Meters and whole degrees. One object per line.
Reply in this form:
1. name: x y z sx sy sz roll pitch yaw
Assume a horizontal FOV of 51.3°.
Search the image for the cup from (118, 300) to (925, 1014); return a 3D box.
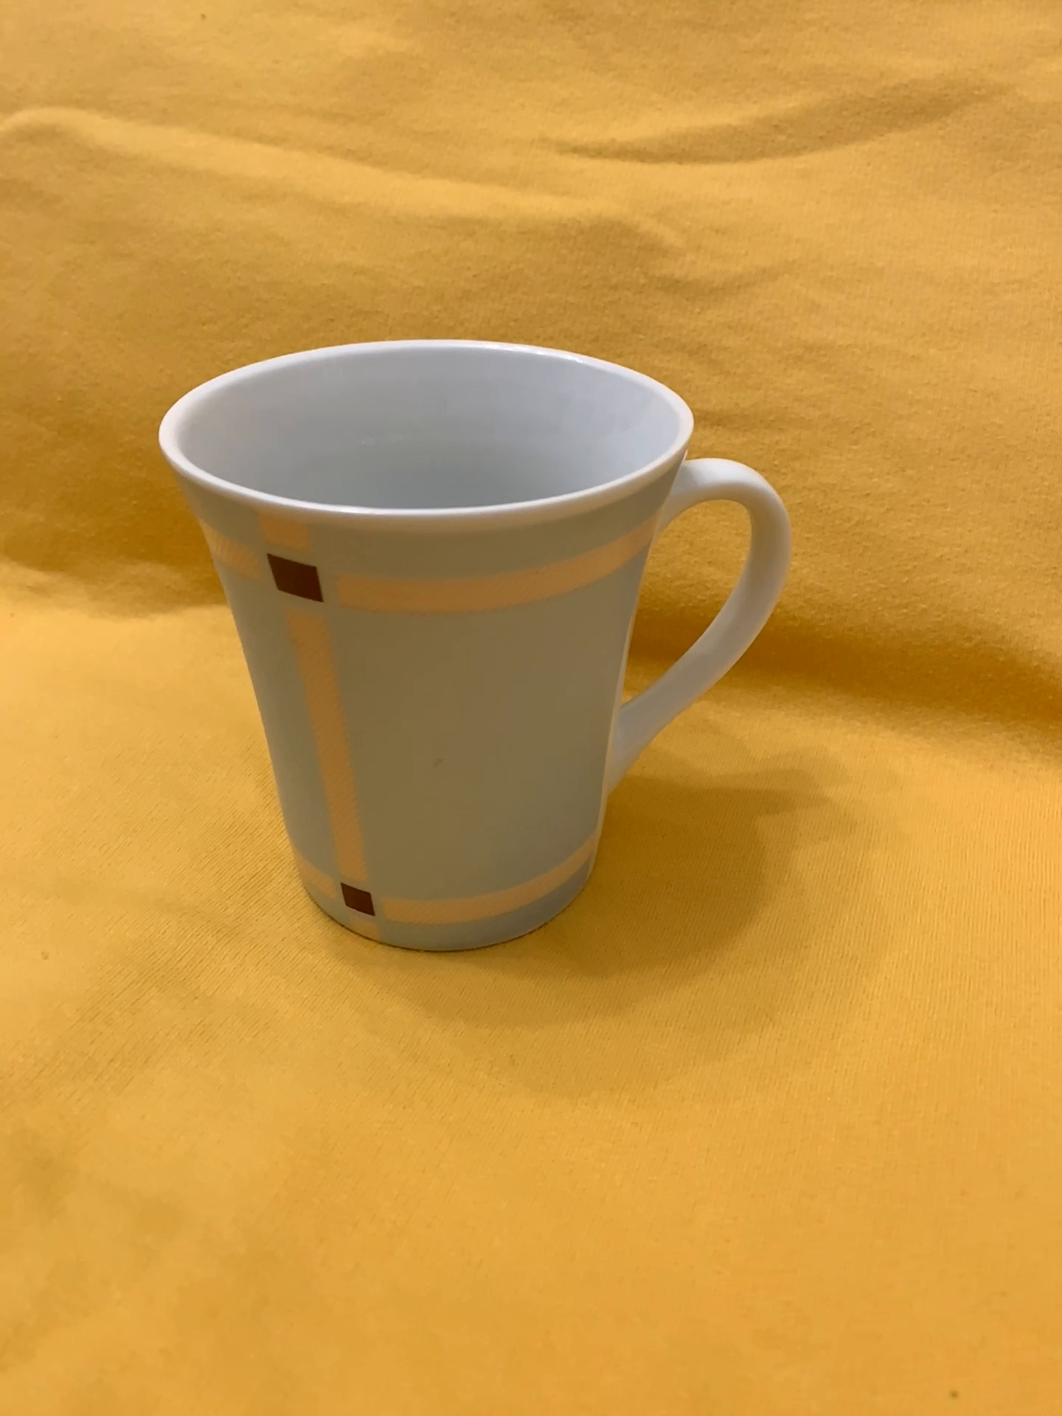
1. cup: -0.007 -0.017 0.232 0.120 0.103 0.099 -5 35 -8
